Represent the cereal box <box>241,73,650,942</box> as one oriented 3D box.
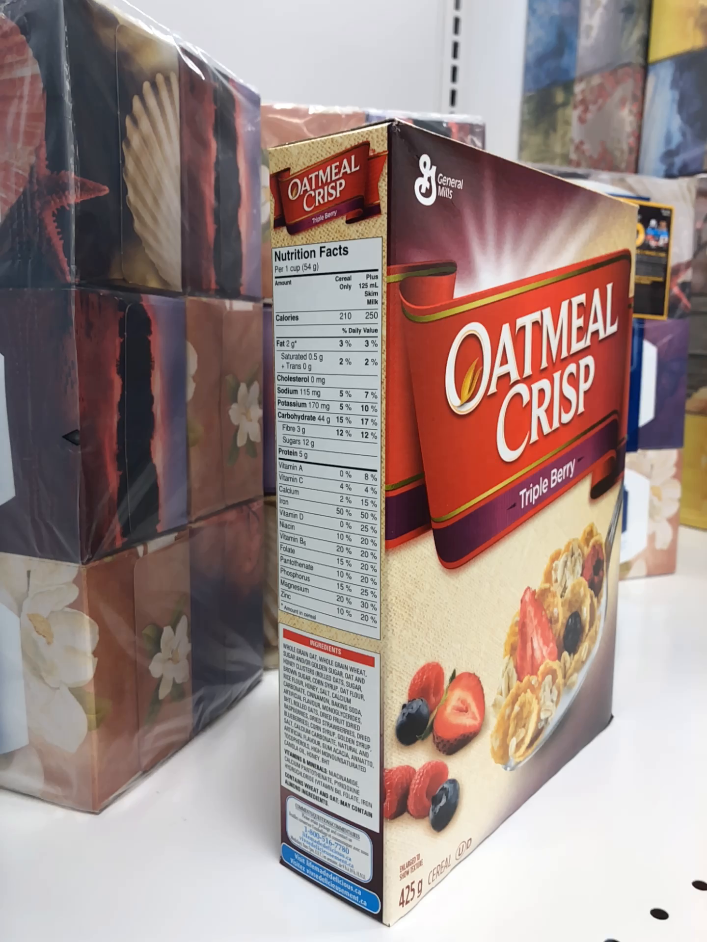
[{"bbox_3d":[0.051,0.008,0.333,0.060,0.270,0.200,7,11,40],"label":"cereal box"}]
